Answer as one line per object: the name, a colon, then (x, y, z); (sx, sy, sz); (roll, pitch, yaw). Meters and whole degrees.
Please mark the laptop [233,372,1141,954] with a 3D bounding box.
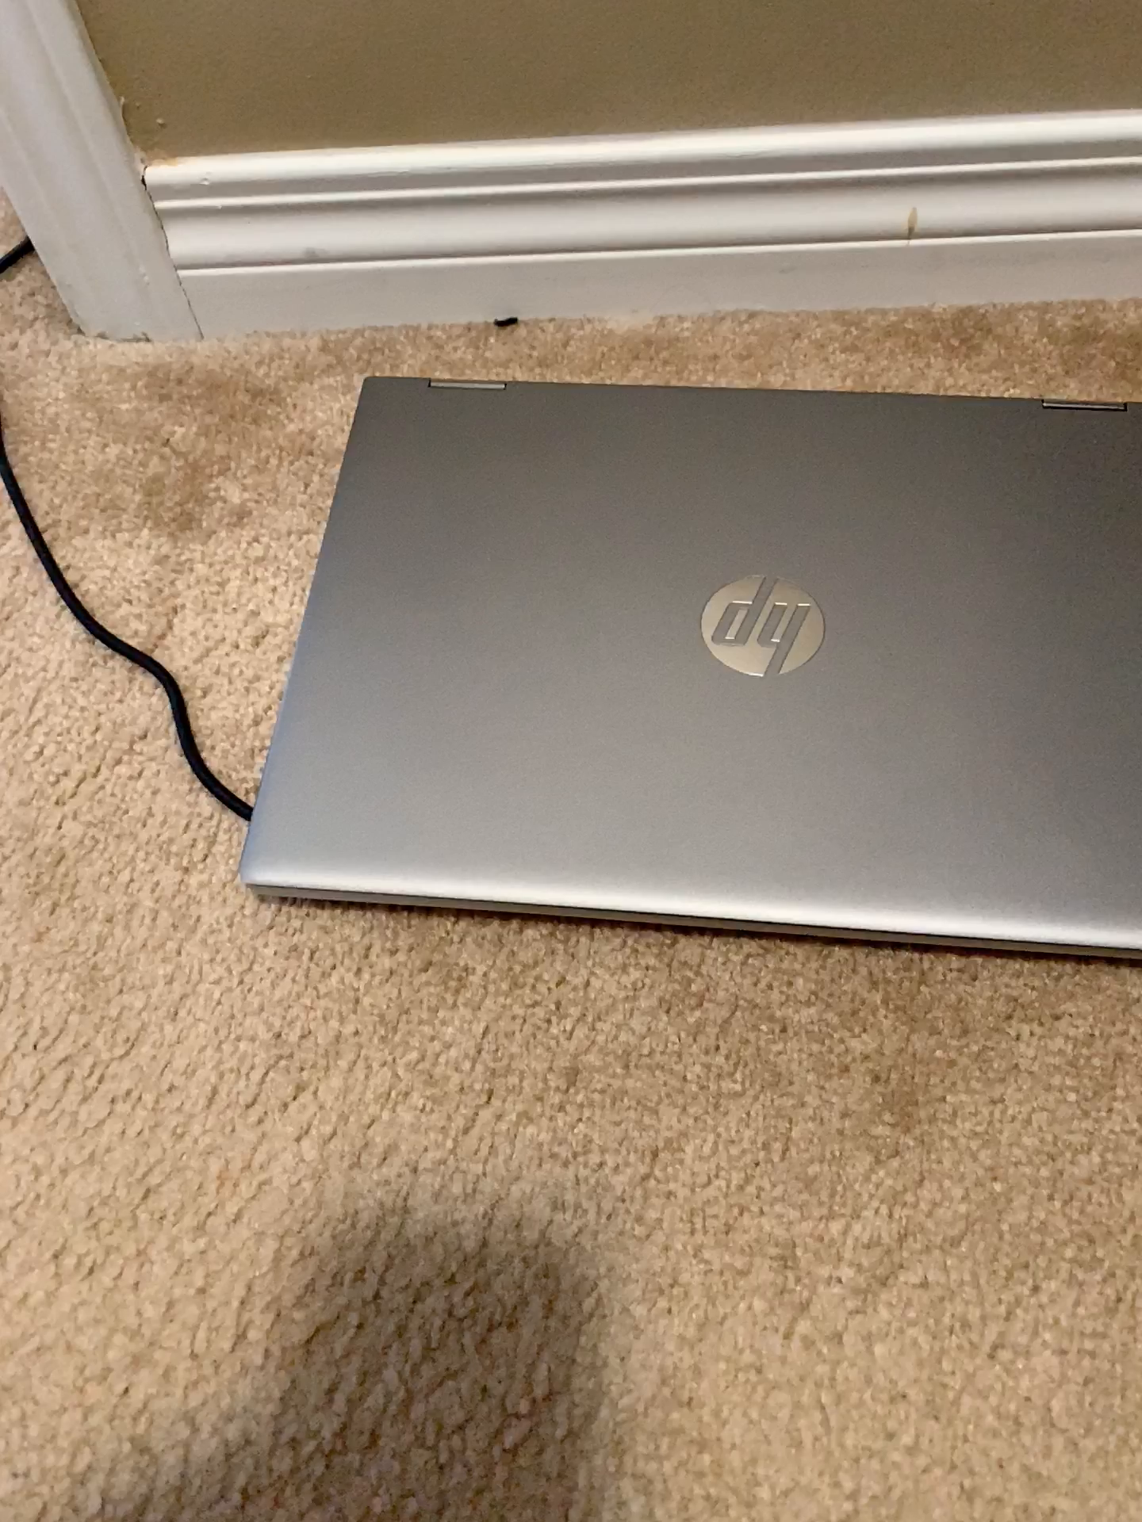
laptop: (0.068, -0.049, 0.402); (0.319, 0.001, 0.222); (4, 60, 3)
